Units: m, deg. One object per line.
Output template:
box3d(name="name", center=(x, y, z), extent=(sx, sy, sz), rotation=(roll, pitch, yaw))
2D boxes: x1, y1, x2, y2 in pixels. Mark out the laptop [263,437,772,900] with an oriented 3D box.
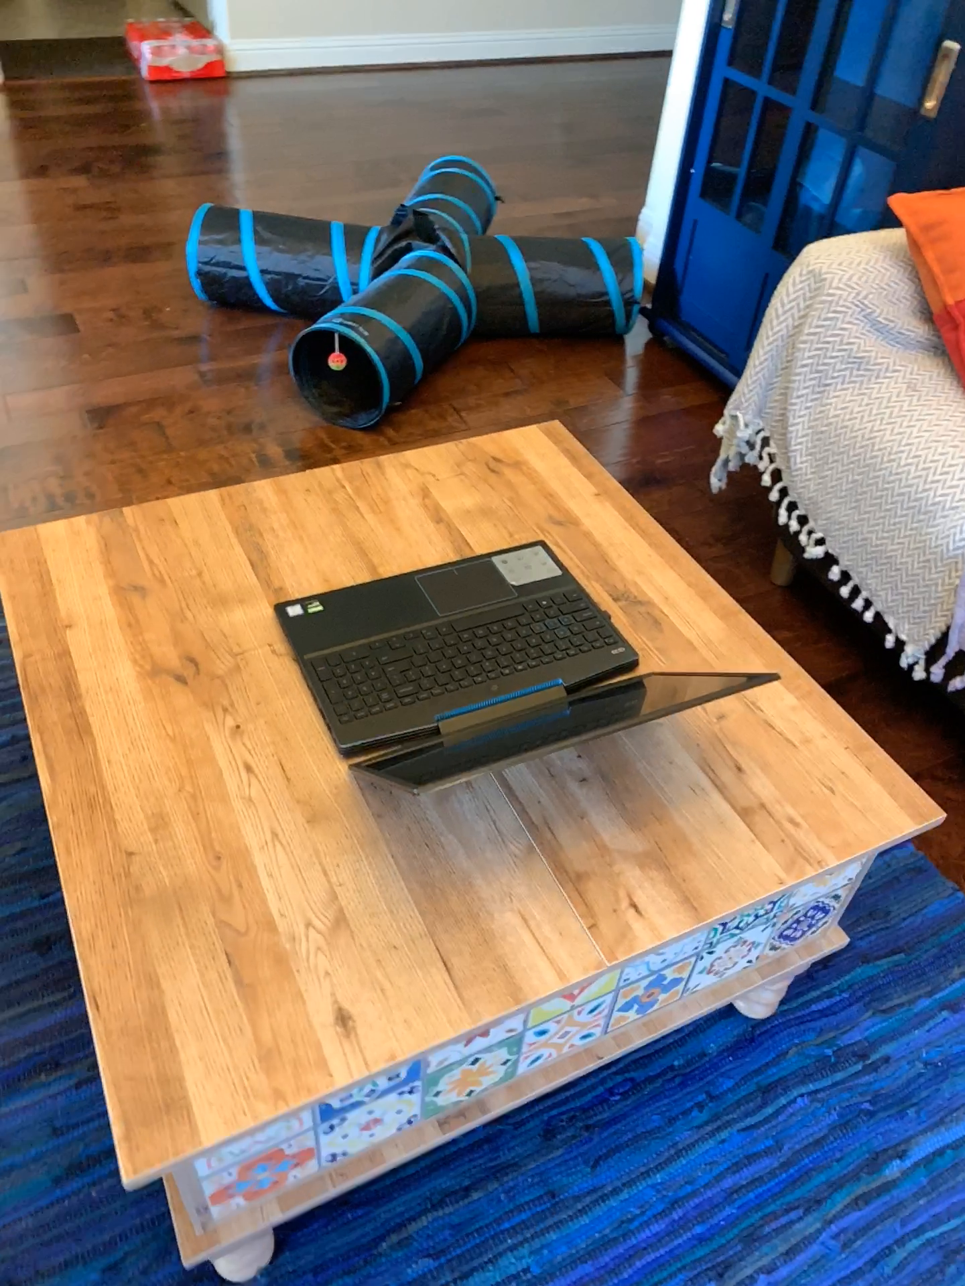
box3d(name="laptop", center=(0.011, -0.008, 1.009), extent=(0.346, 0.156, 0.419), rotation=(-15, 47, -21))
